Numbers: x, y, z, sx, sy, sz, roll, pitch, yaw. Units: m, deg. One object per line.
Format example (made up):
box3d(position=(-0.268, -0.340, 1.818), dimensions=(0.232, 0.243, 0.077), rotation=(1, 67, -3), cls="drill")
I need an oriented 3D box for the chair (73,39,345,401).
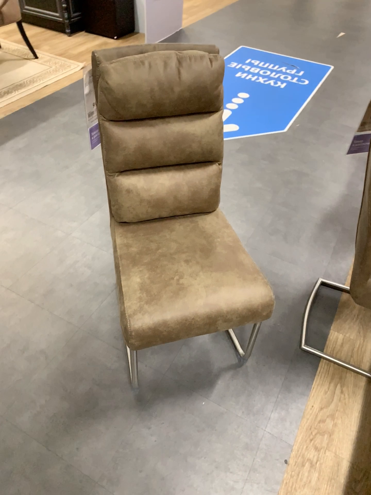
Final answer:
box3d(position=(-0.017, -0.049, 1.278), dimensions=(0.500, 0.995, 0.603), rotation=(-10, 46, -13), cls="chair")
